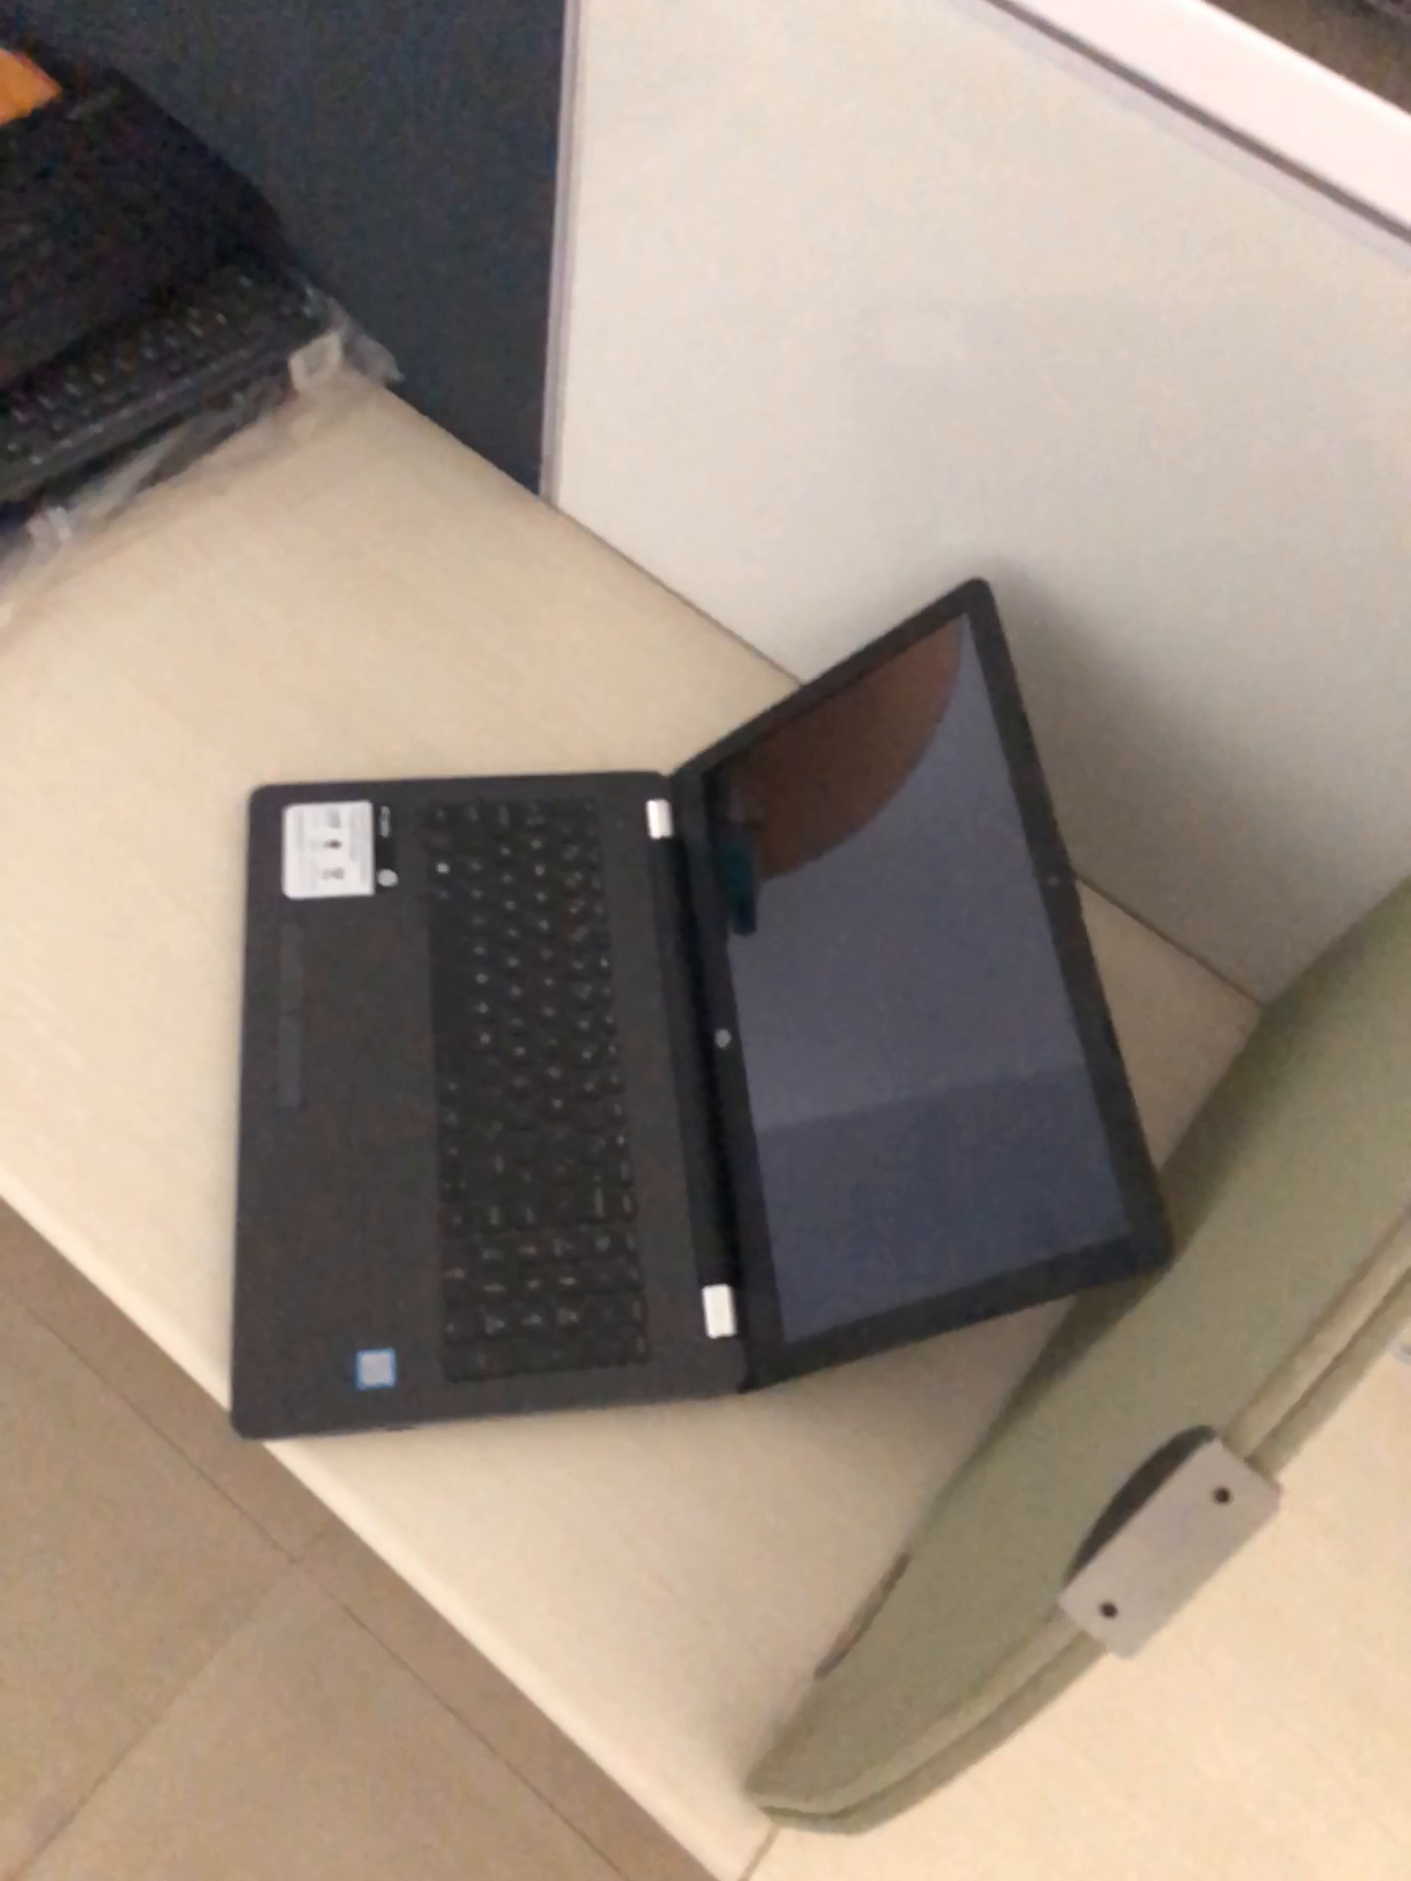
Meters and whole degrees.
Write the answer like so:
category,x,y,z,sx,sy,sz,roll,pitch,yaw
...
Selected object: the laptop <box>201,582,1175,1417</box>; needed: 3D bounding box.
category,x,y,z,sx,sy,sz,roll,pitch,yaw
laptop,-0.031,0.017,0.772,0.393,0.168,0.366,-3,61,-9
